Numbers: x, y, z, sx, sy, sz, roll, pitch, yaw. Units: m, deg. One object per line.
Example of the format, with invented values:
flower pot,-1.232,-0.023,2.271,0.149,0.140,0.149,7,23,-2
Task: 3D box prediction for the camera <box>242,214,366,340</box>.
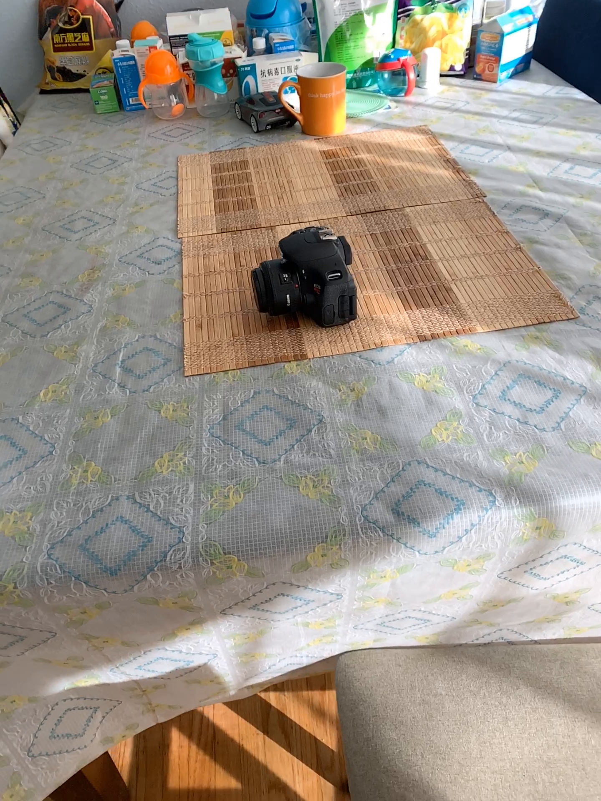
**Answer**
camera,0.004,-0.149,0.736,0.125,0.092,0.100,-10,43,-6
